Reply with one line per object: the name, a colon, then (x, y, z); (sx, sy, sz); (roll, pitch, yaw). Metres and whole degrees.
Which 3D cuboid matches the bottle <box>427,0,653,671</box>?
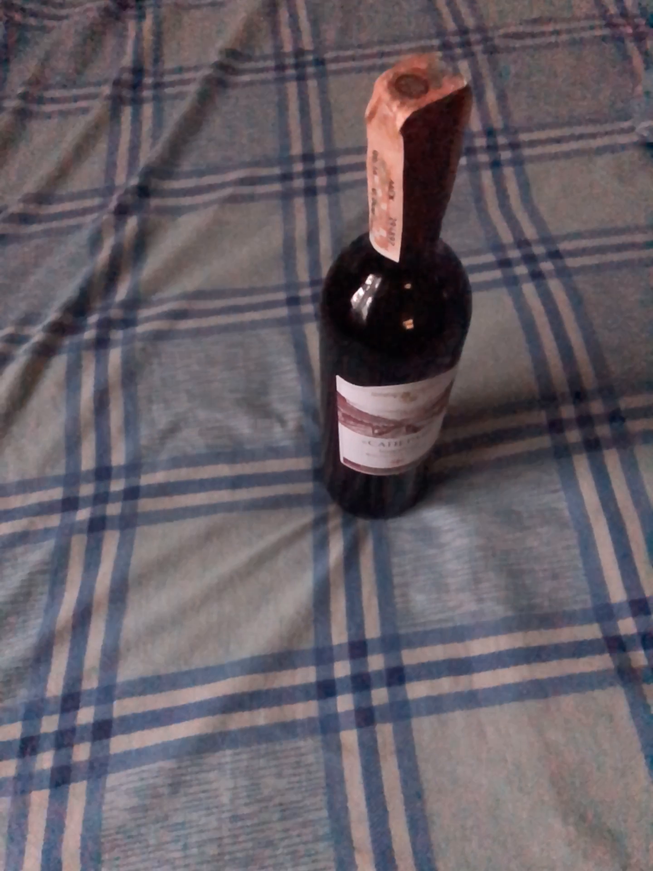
bottle: (0.092, -0.003, 0.251); (0.081, 0.305, 0.071); (14, 61, 12)
